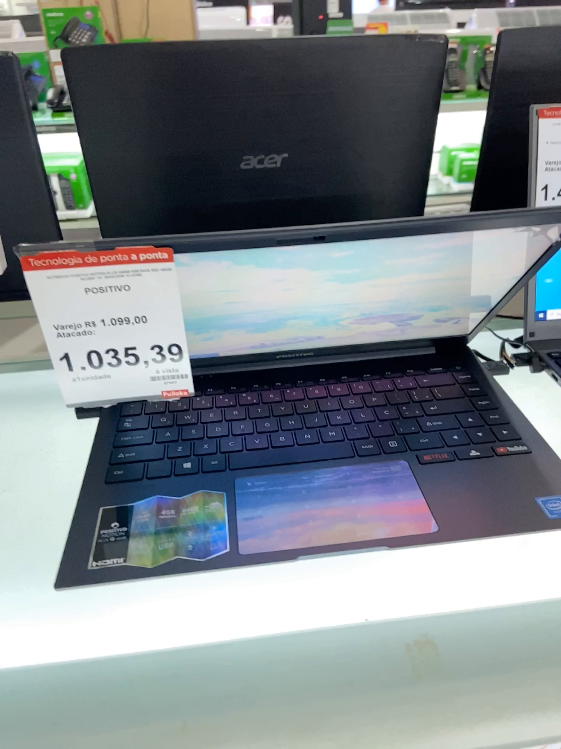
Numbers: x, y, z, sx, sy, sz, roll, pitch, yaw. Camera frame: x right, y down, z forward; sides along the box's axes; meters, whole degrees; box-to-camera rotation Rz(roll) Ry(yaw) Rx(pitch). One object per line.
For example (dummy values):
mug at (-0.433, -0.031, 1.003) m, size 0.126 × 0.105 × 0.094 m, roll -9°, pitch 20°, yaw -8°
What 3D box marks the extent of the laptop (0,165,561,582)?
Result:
laptop at (0.021, -0.025, 0.400) m, size 0.333 × 0.163 × 0.223 m, roll -5°, pitch 32°, yaw -4°
